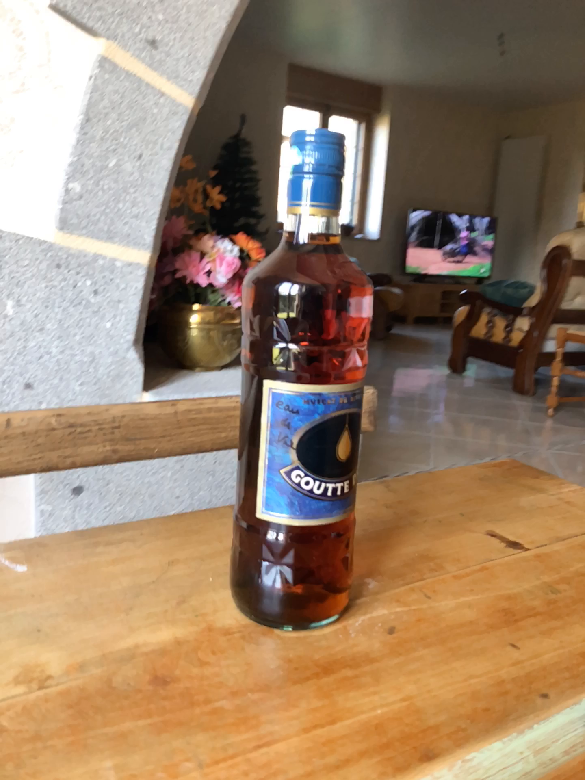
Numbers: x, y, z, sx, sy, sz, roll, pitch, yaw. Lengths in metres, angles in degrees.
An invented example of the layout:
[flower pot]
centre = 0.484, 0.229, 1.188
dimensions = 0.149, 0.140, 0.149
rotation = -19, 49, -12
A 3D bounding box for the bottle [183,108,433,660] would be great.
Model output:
[bottle]
centre = 0.001, -0.005, 0.384
dimensions = 0.090, 0.279, 0.100
rotation = -4, 14, -33
